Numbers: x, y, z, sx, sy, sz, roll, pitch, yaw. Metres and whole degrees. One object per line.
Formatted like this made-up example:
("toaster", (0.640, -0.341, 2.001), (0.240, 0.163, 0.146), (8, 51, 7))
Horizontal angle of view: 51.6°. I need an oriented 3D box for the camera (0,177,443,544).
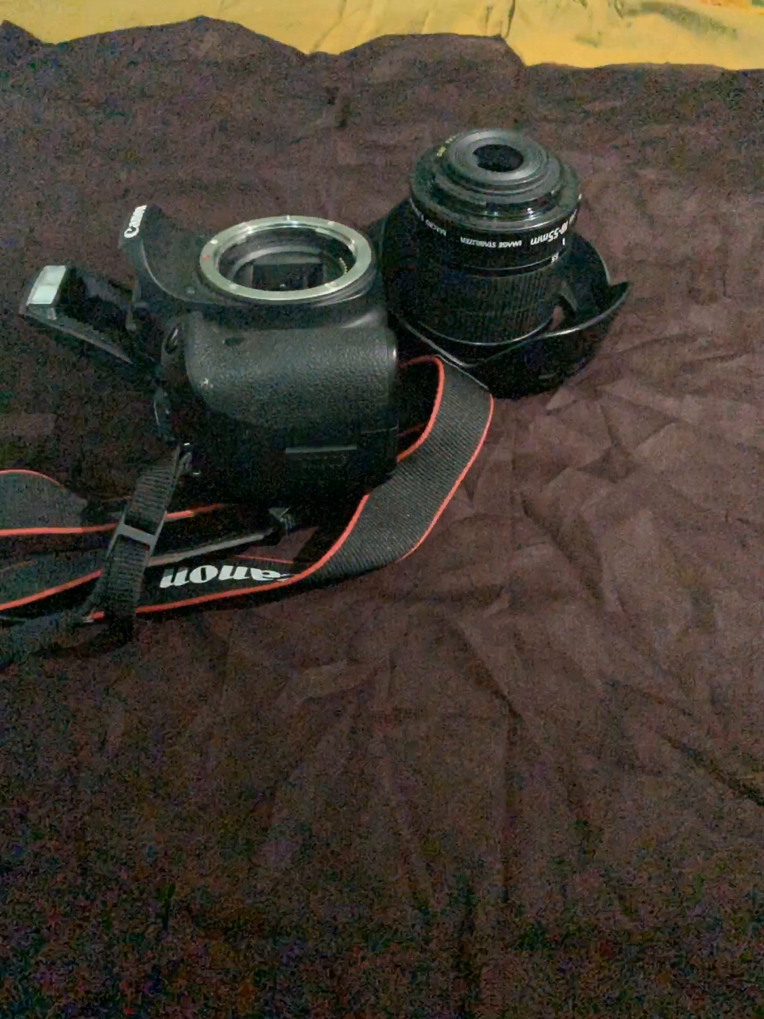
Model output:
("camera", (-0.063, -0.068, 0.329), (0.150, 0.082, 0.147), (-1, 42, -6))
